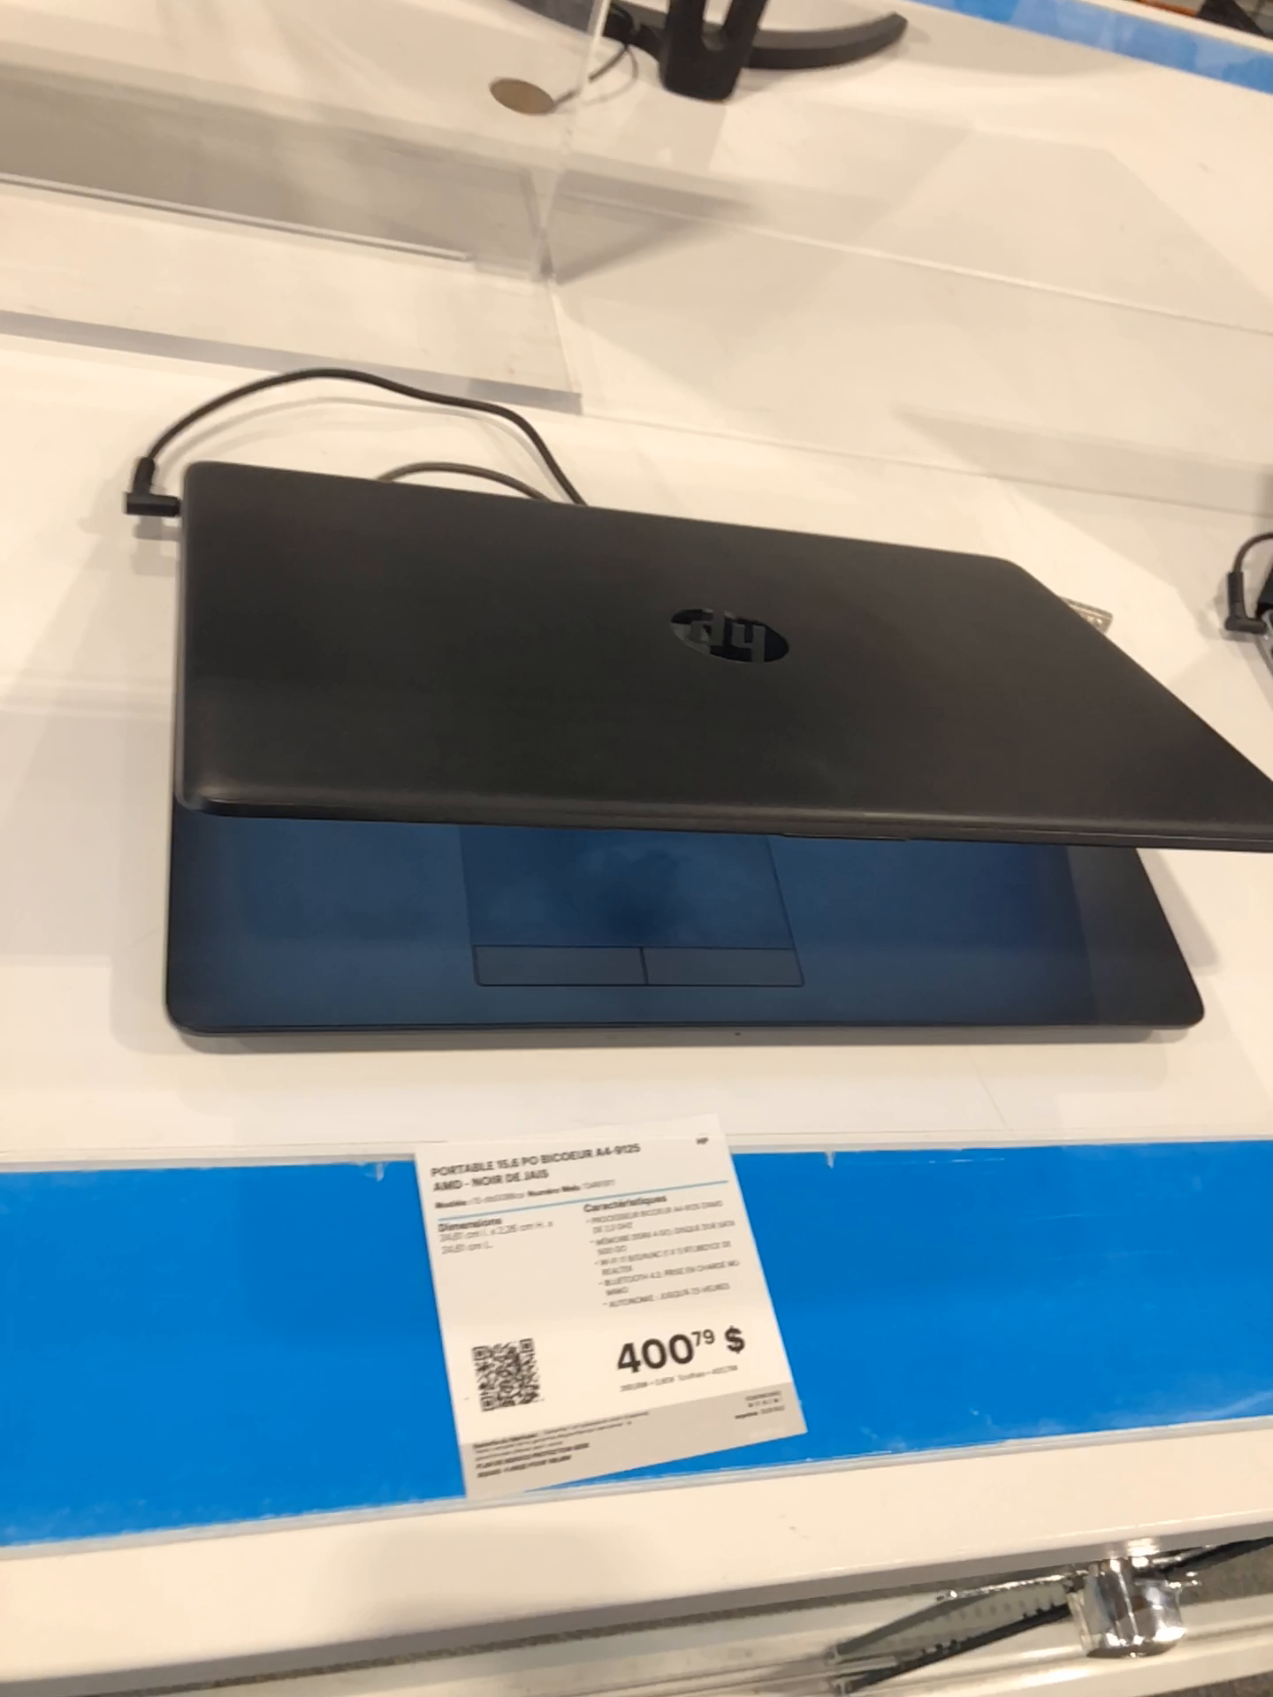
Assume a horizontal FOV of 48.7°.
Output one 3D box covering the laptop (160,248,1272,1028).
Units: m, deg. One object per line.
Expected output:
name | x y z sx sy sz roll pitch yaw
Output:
laptop | 0.031 -0.066 0.491 0.366 0.092 0.235 3 53 -23
